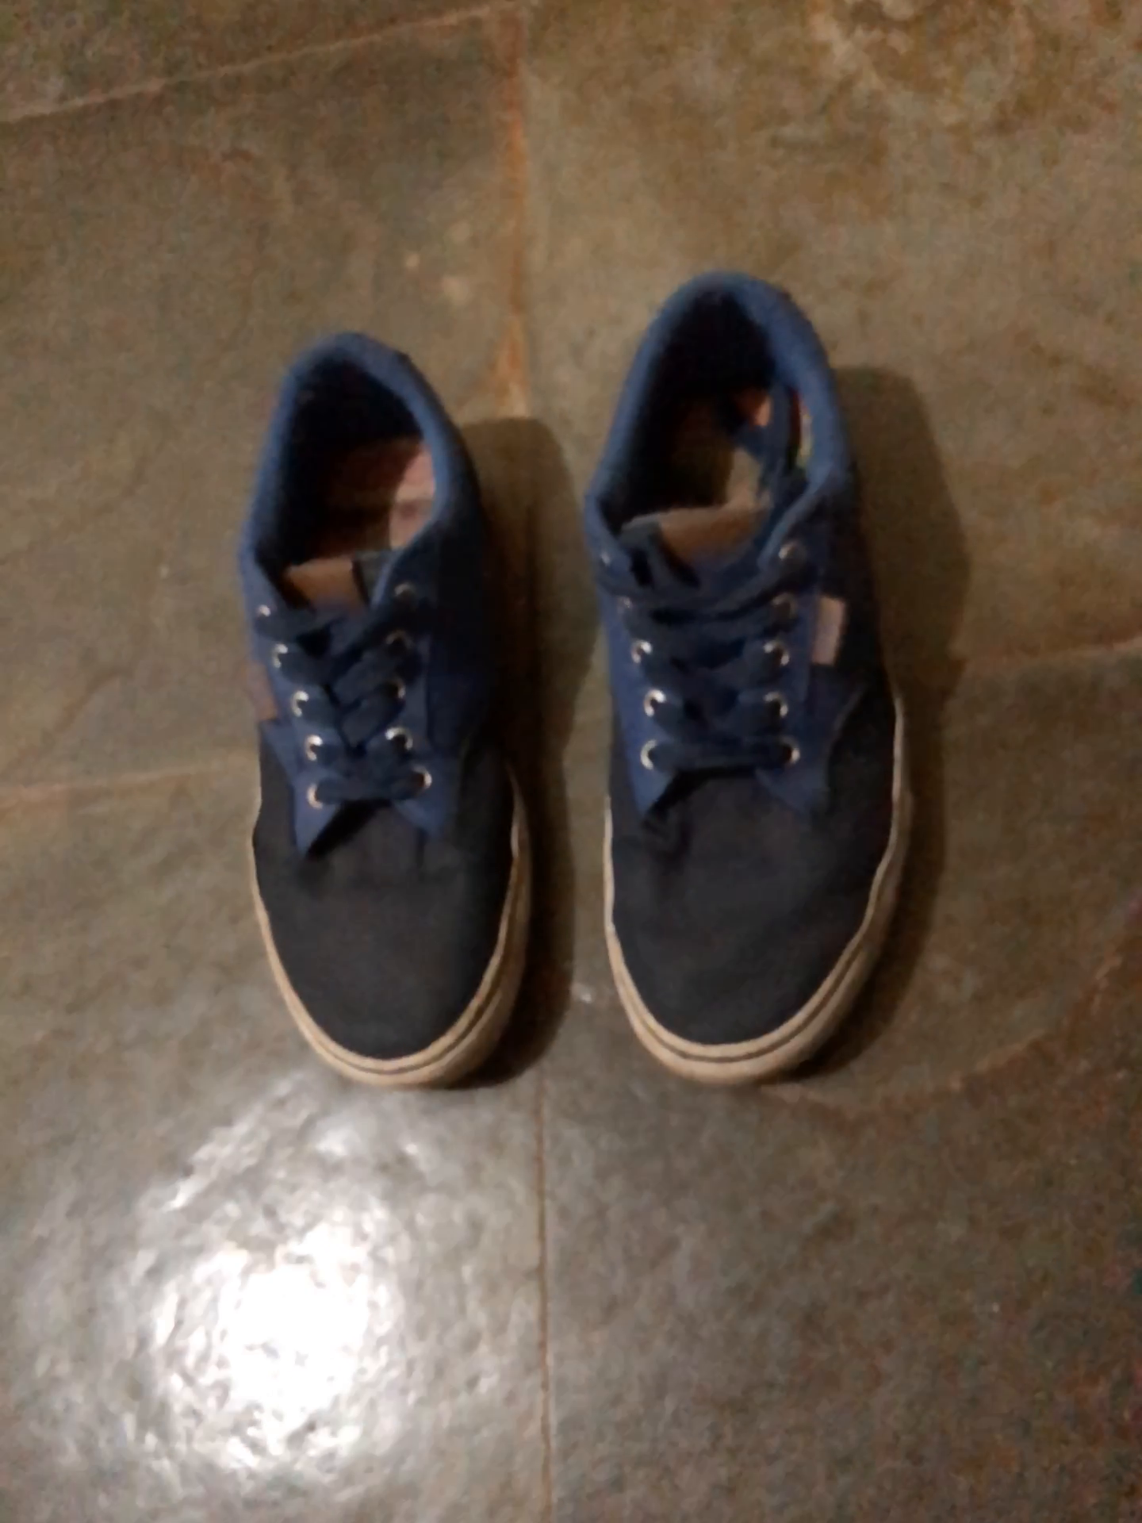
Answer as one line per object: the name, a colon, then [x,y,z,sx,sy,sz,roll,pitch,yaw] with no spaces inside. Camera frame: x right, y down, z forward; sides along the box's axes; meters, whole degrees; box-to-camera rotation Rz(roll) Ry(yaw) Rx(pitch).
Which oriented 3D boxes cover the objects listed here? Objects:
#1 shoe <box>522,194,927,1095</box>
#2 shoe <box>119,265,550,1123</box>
shoe: [0.056,-0.042,0.434,0.110,0.080,0.291,-2,70,13]
shoe: [-0.078,-0.025,0.449,0.110,0.080,0.281,-8,68,10]
